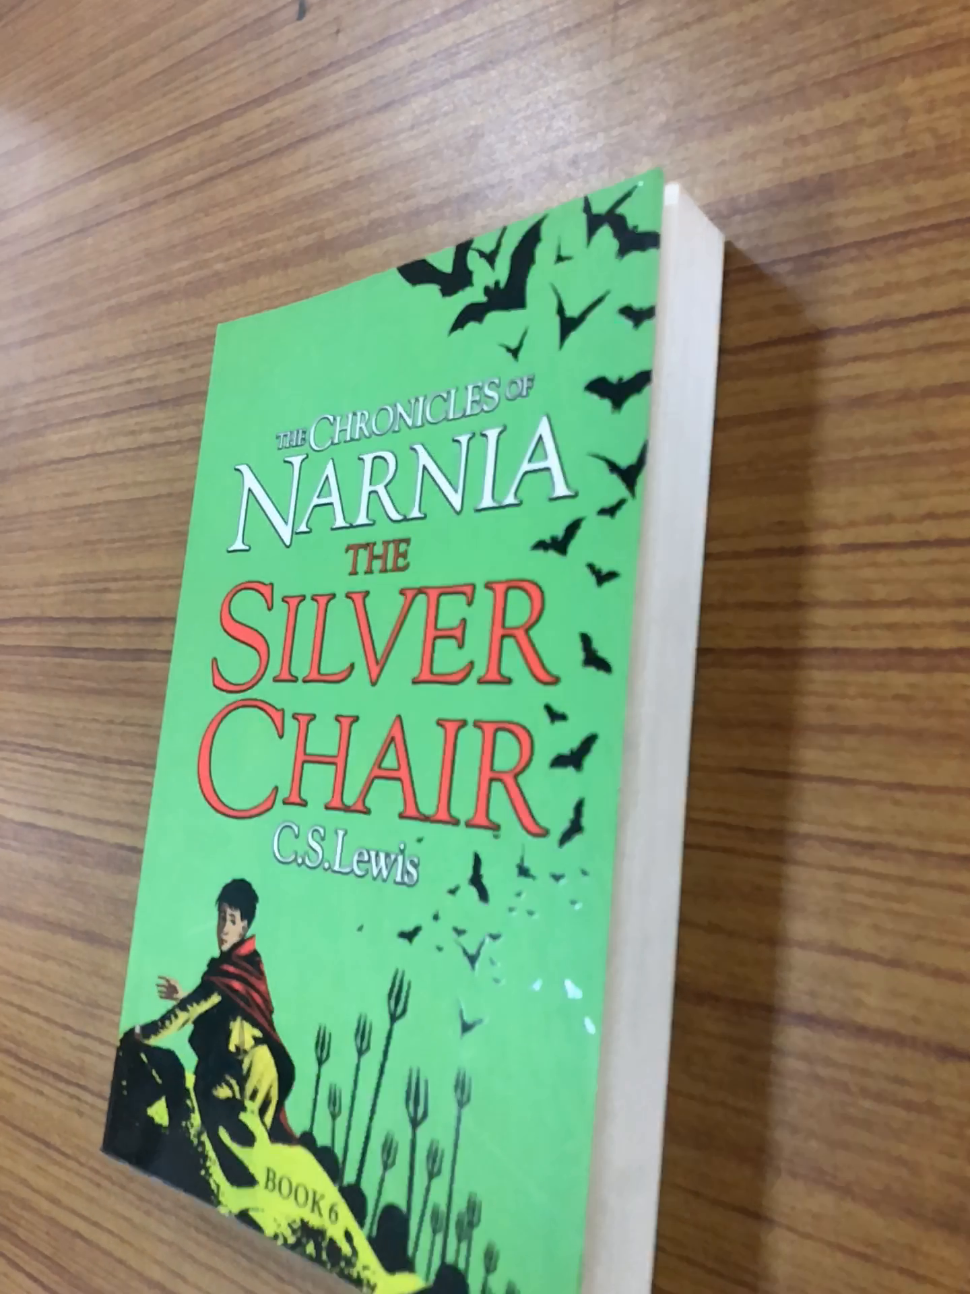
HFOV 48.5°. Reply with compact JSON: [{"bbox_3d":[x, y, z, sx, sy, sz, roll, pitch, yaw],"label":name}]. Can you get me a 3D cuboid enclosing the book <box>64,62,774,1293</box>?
[{"bbox_3d":[-0.020,0.010,0.219,0.141,0.030,0.210,-1,80,39],"label":"book"}]
